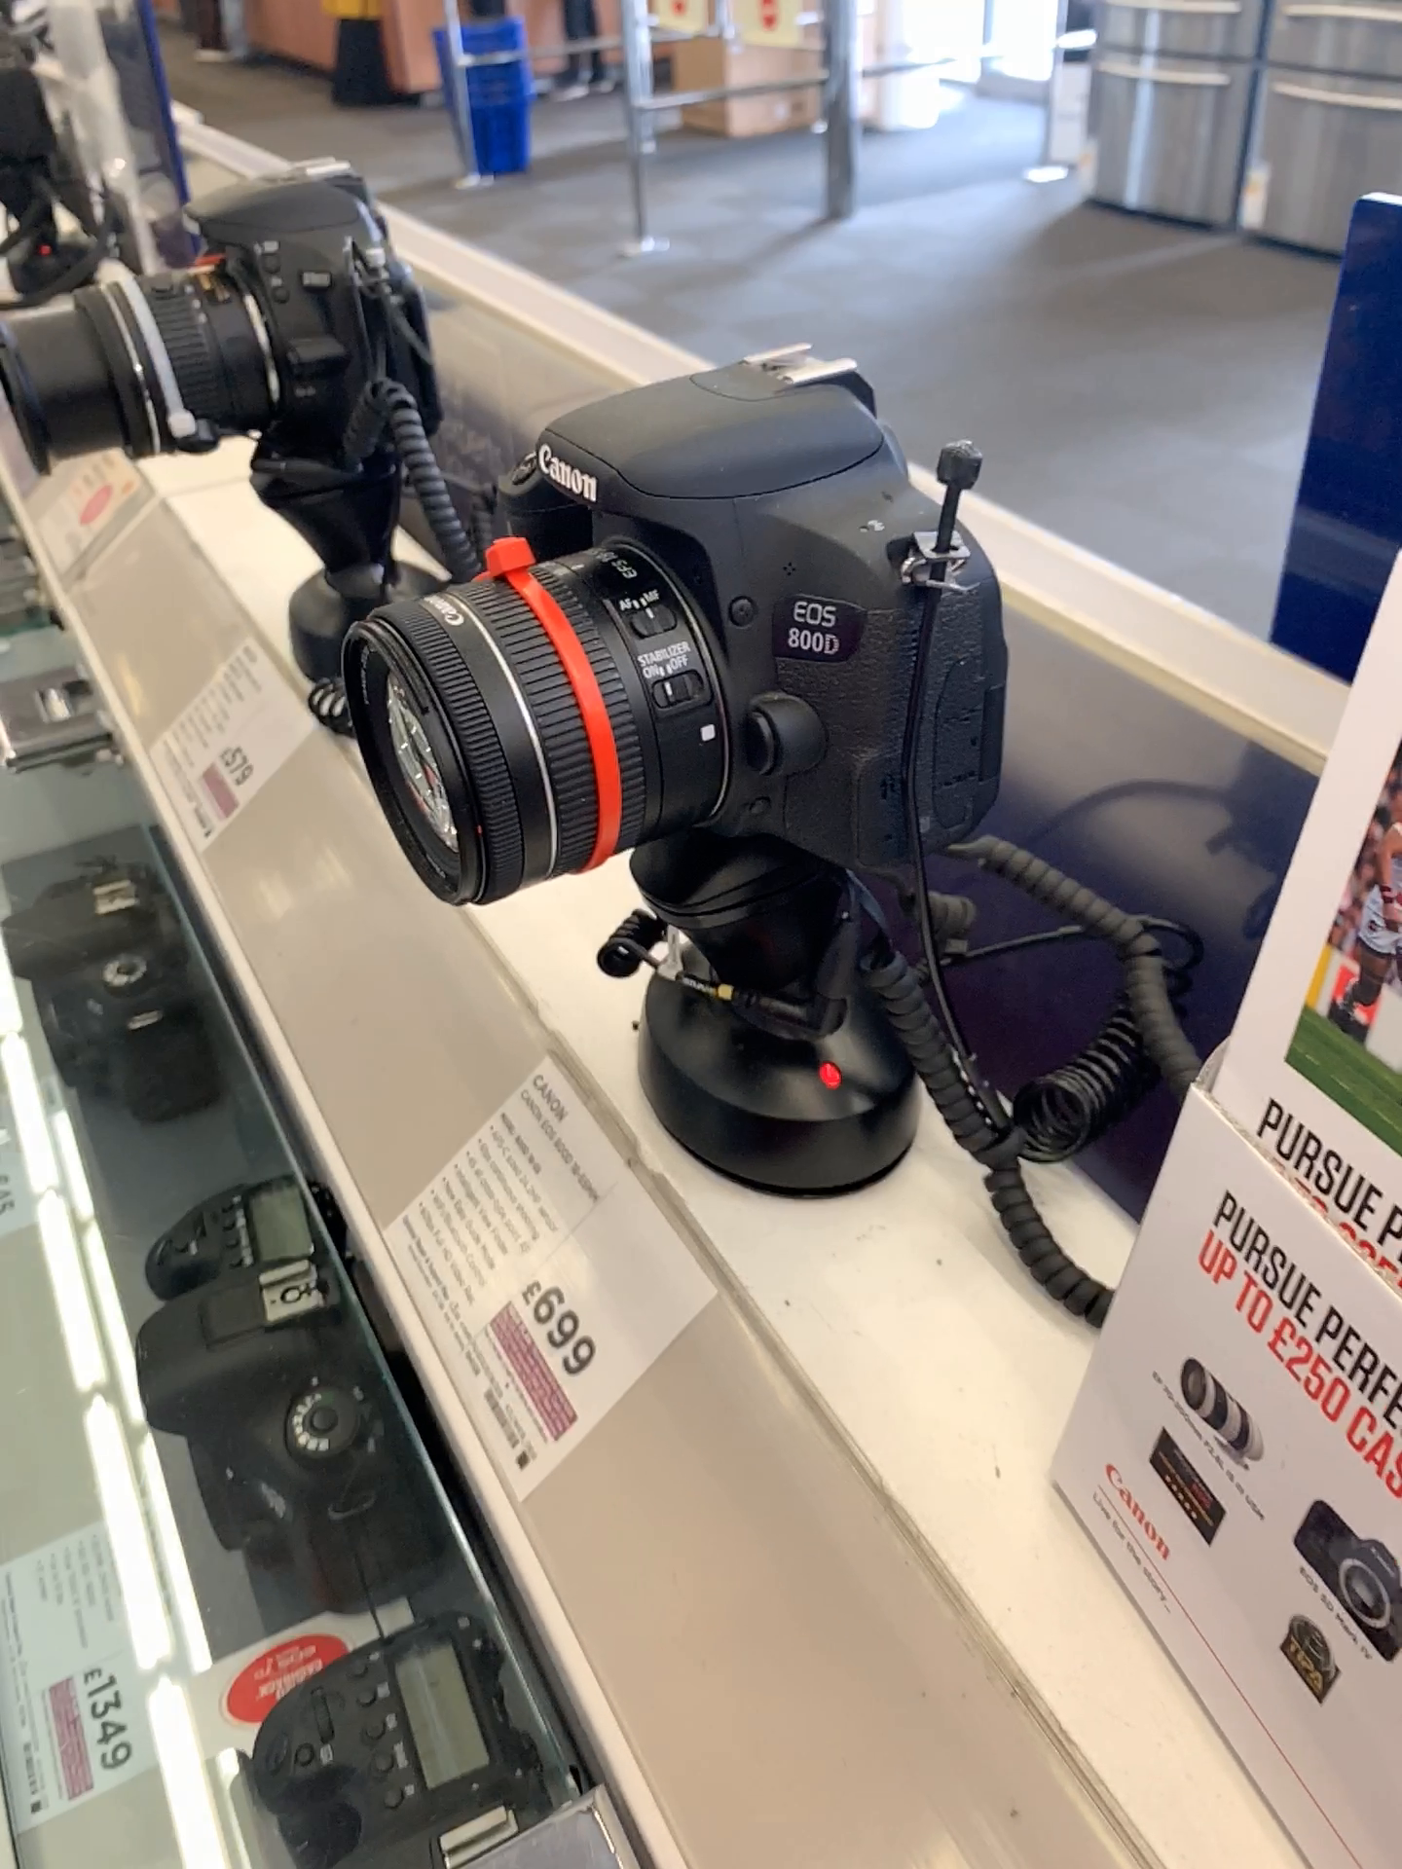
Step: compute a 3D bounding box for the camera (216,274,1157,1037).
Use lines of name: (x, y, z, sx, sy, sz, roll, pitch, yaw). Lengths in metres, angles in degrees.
camera: (-0.006, -0.076, 0.325, 0.140, 0.089, 0.141, -24, 41, -25)
